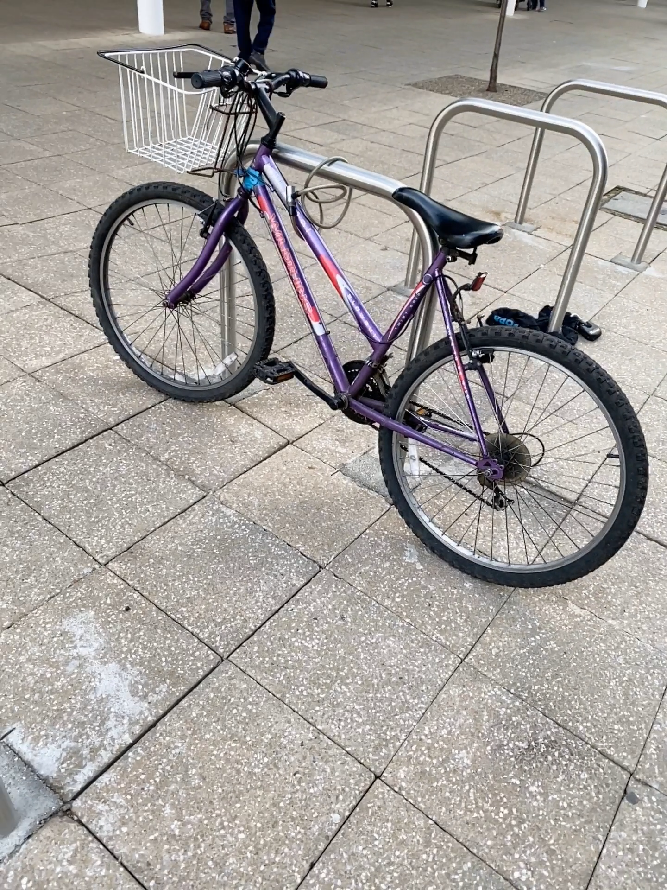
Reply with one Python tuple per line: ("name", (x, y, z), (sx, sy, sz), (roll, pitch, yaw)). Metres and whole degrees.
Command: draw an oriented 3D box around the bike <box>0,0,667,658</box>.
("bike", (0.039, -0.411, 1.802), (1.735, 1.042, 0.584), (26, 42, 22))
